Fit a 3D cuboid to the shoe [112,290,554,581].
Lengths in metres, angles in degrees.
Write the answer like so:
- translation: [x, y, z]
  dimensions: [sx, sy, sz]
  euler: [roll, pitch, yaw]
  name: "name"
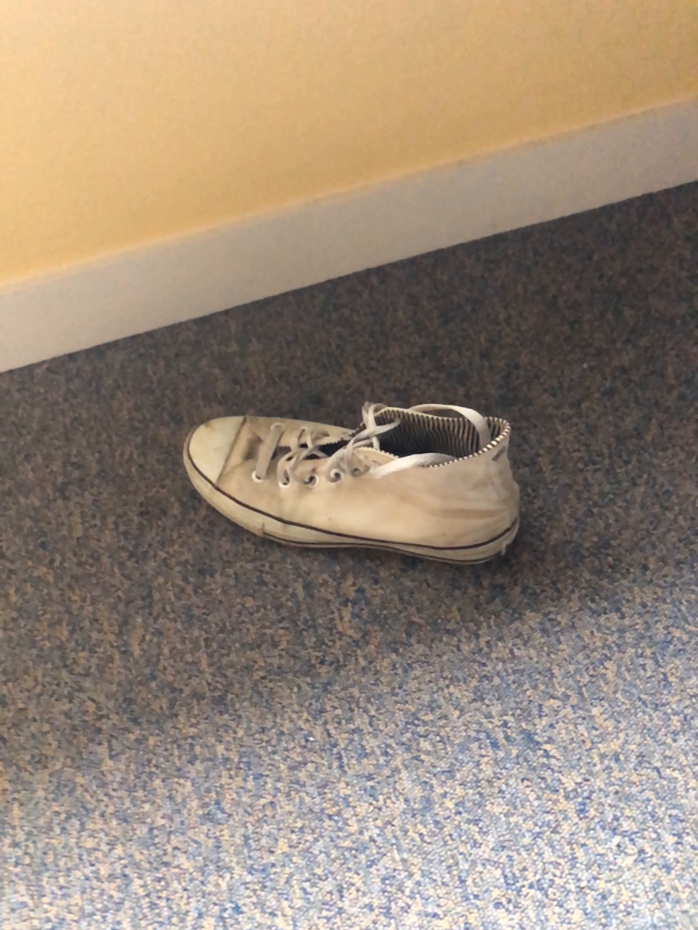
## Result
- translation: [-0.004, -0.018, 0.522]
  dimensions: [0.250, 0.140, 0.100]
  euler: [10, 62, 12]
  name: "shoe"
